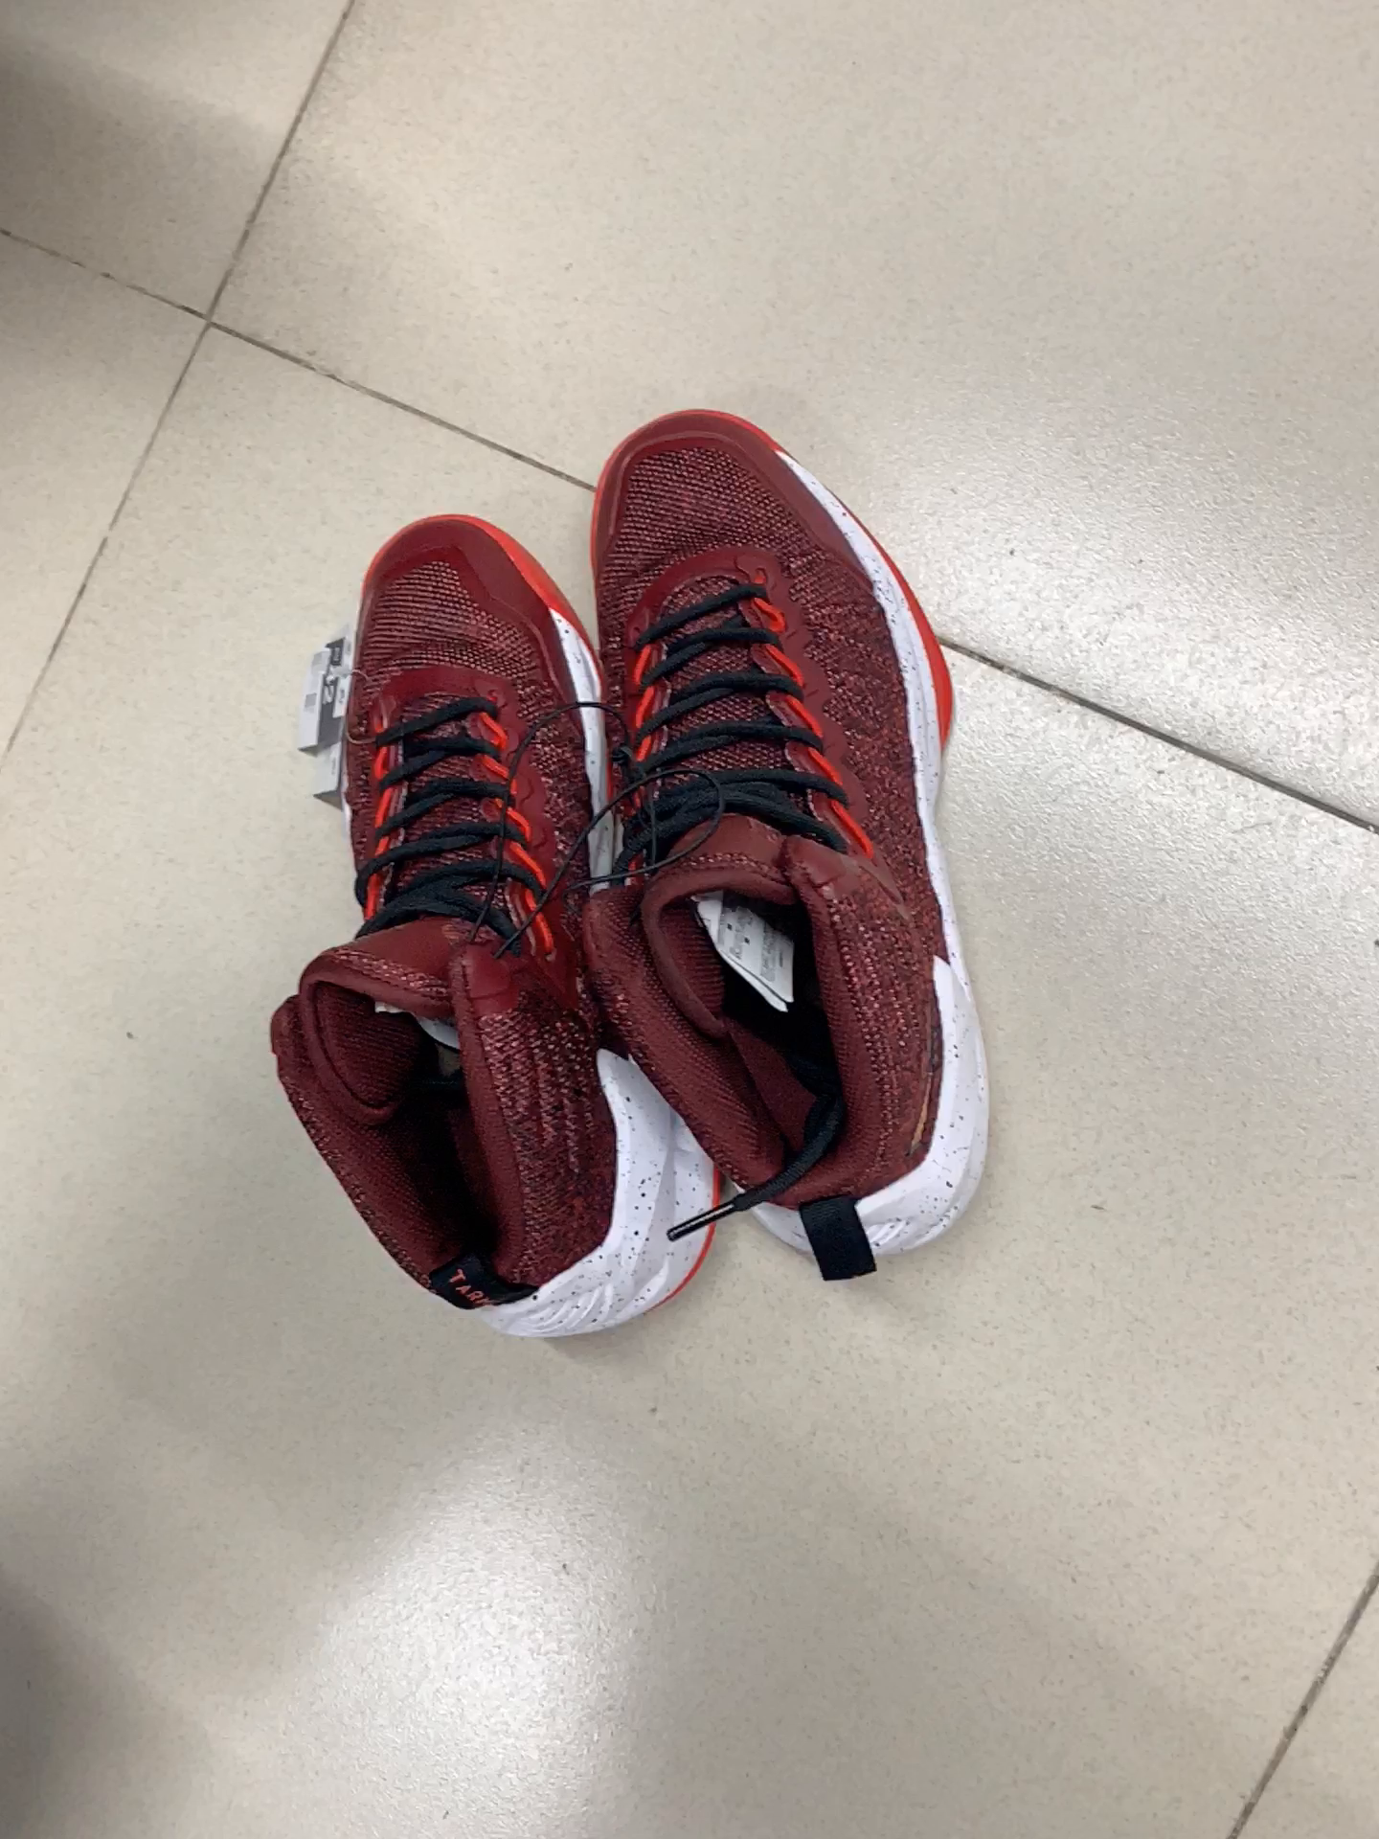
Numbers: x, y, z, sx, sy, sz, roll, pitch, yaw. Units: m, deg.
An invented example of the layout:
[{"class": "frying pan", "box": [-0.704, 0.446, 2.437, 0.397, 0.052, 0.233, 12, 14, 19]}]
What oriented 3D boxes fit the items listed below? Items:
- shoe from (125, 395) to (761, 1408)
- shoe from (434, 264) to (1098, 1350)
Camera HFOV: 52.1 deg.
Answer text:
[{"class": "shoe", "box": [-0.078, -0.003, 0.471, 0.120, 0.110, 0.280, -15, 82, 16]}, {"class": "shoe", "box": [0.027, -0.027, 0.430, 0.120, 0.110, 0.270, -15, 82, 16]}]
